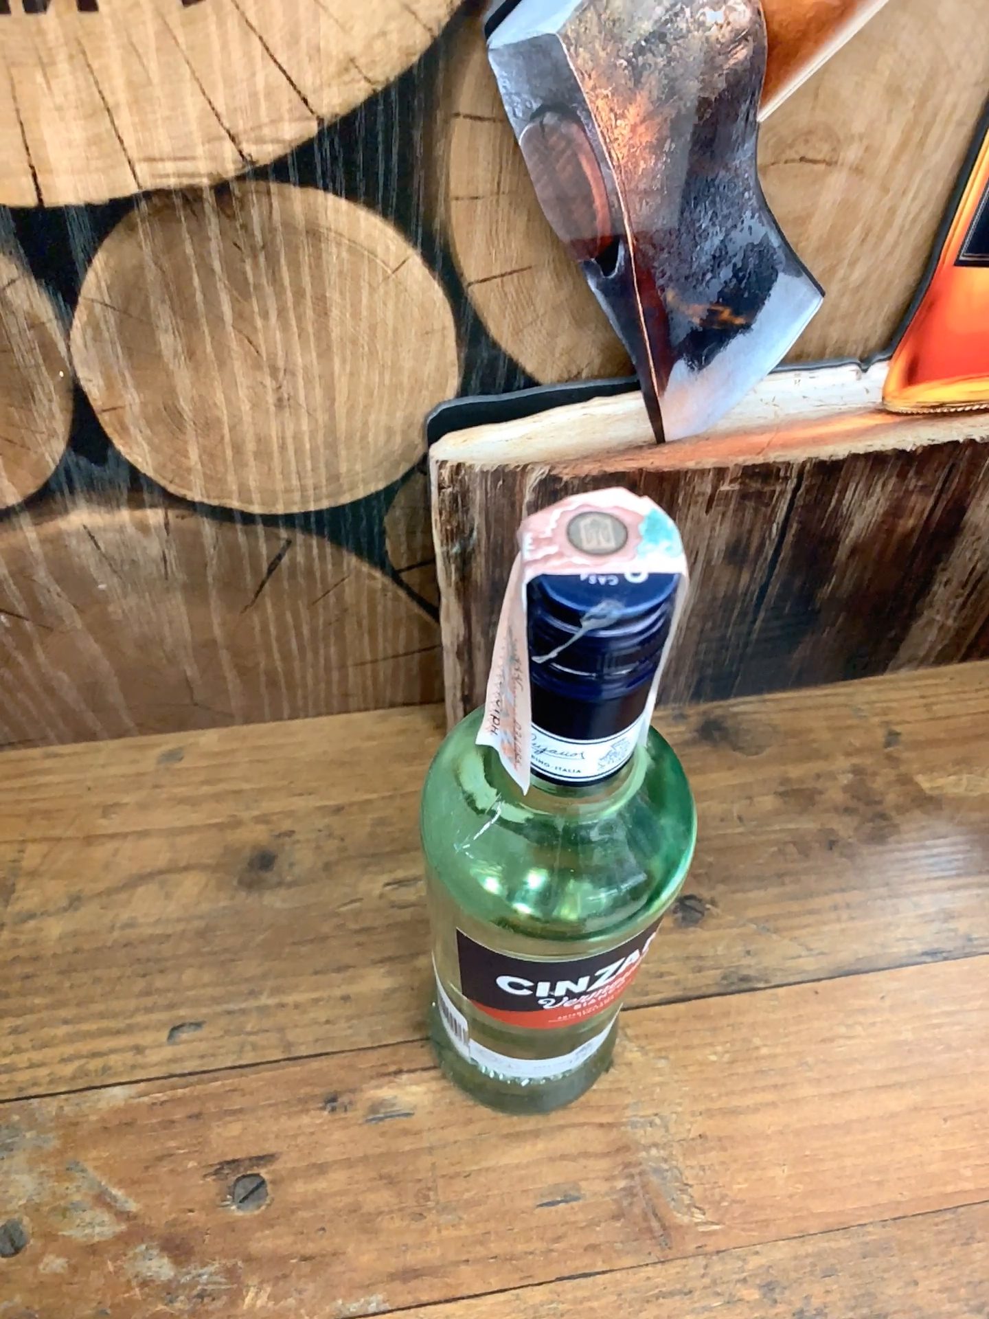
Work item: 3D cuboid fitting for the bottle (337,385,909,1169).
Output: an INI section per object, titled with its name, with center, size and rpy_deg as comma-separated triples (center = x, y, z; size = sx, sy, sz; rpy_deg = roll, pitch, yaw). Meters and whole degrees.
[bottle]
center = 0.014, 0.054, 0.260
size = 0.070, 0.231, 0.070
rpy_deg = 1, 52, -2
